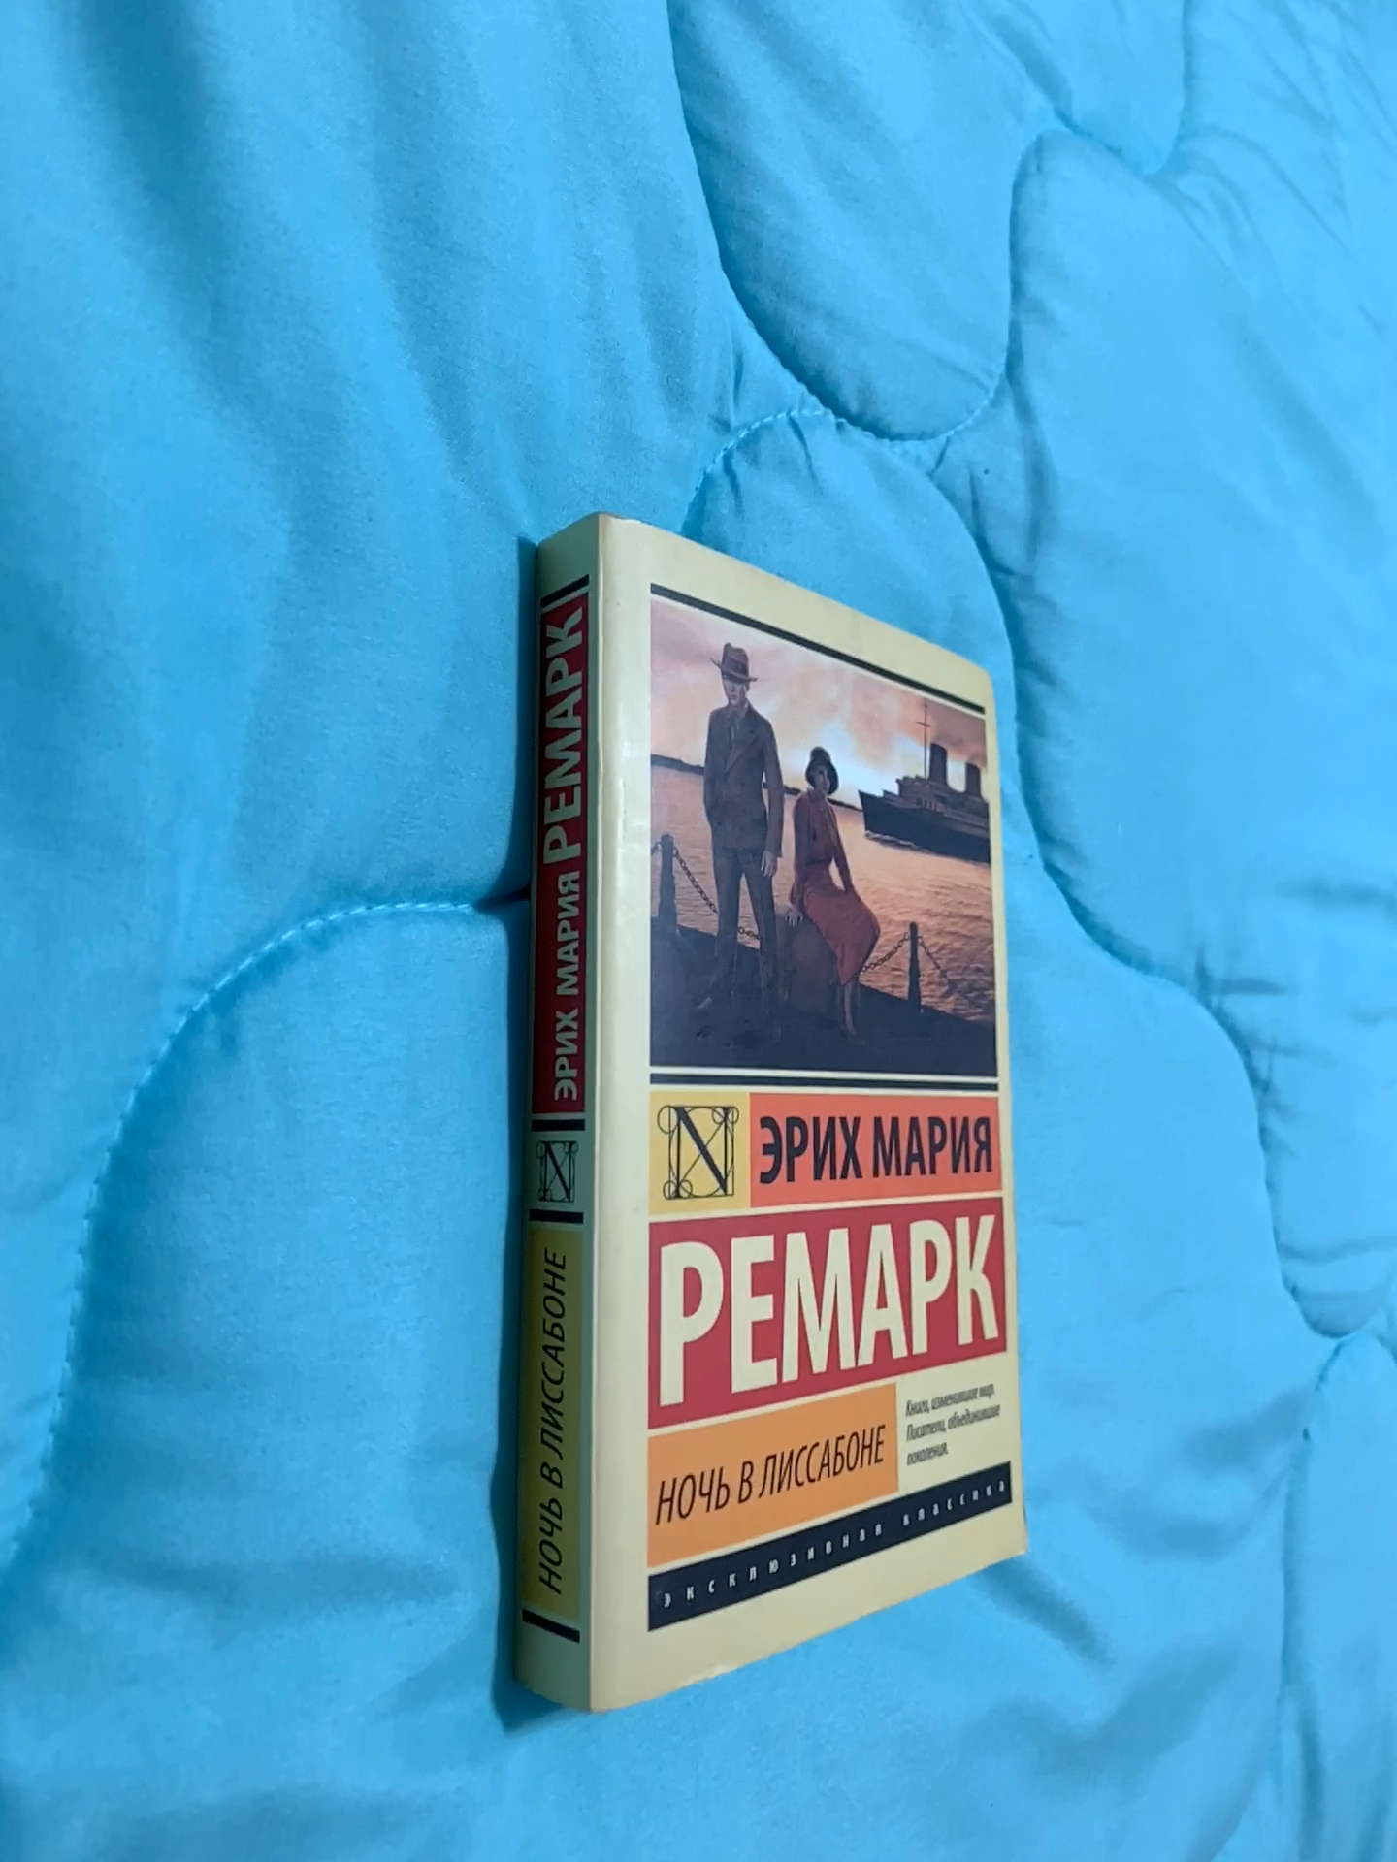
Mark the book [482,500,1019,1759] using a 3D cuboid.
[{"bbox_3d":[0.016,0.029,0.247,0.113,0.020,0.172,8,80,-47],"label":"book"}]
